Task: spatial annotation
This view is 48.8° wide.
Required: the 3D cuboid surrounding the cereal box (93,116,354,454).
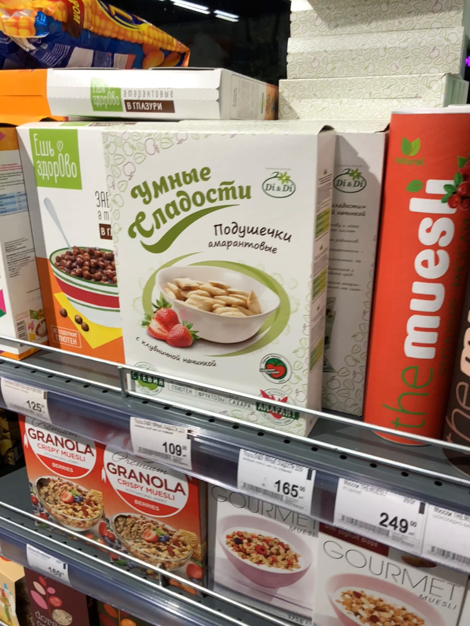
[{"bbox_3d":[-0.012,-0.029,0.443,0.200,0.259,0.050,10,24,26],"label":"cereal box"}]
